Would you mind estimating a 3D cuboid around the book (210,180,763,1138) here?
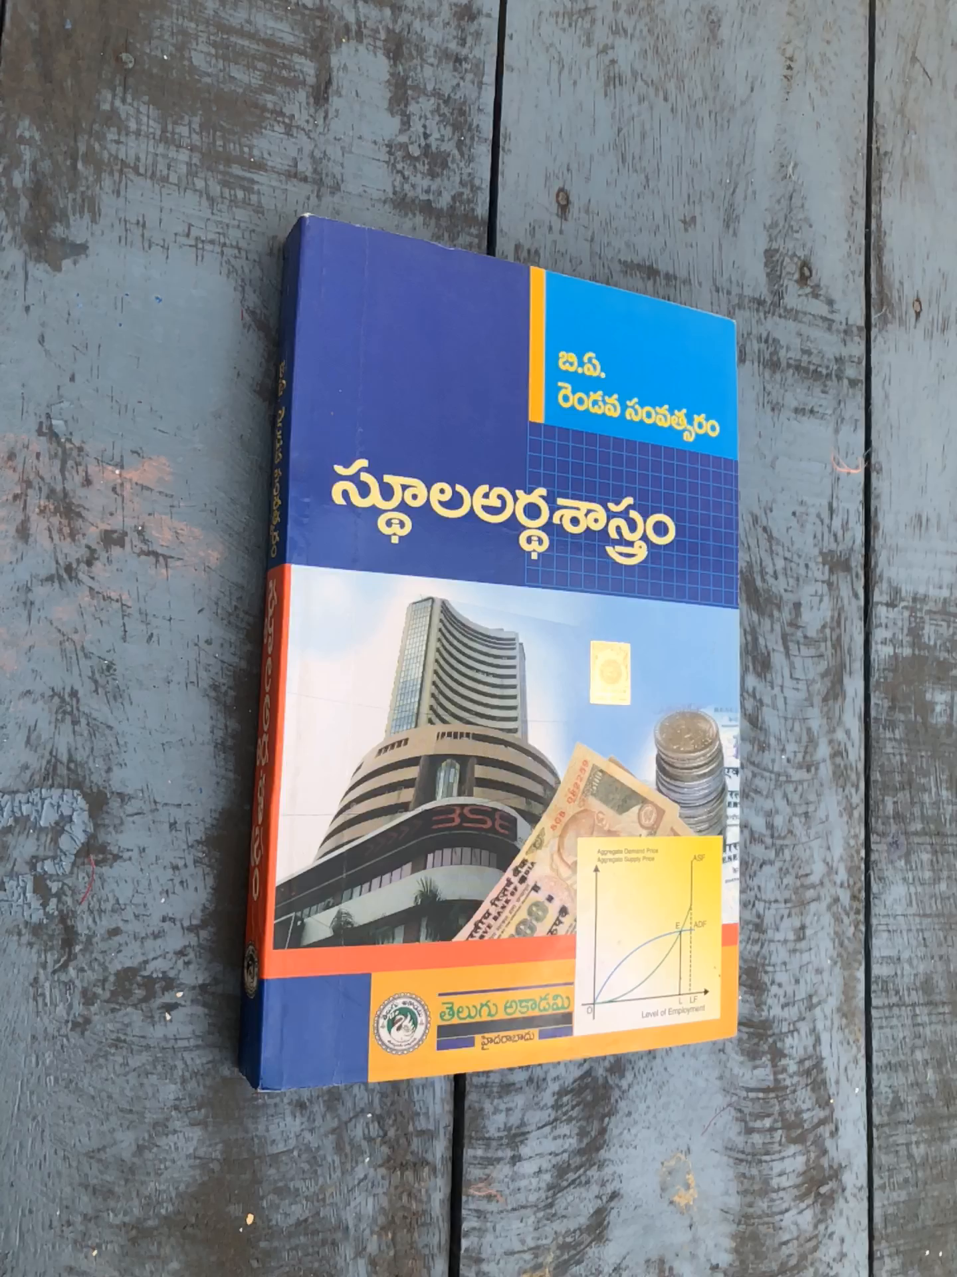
[{"bbox_3d":[0.011,0.007,0.329,0.170,0.030,0.250,3,86,-27],"label":"book"}]
